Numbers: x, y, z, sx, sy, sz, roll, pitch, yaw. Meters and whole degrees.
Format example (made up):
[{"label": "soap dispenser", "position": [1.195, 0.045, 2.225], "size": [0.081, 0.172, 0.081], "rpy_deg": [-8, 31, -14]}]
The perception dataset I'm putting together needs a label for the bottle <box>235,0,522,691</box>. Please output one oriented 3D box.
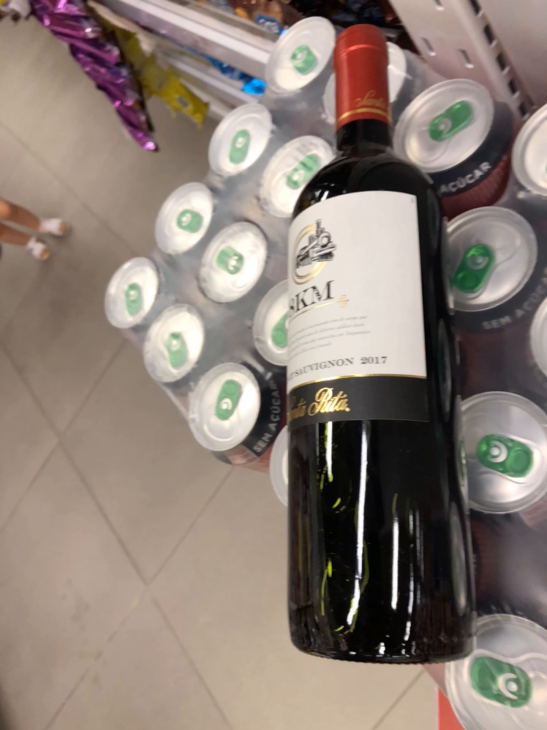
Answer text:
[{"label": "bottle", "position": [0.038, -0.045, 0.270], "size": [0.080, 0.070, 0.320], "rpy_deg": [-13, 68, 33]}]
